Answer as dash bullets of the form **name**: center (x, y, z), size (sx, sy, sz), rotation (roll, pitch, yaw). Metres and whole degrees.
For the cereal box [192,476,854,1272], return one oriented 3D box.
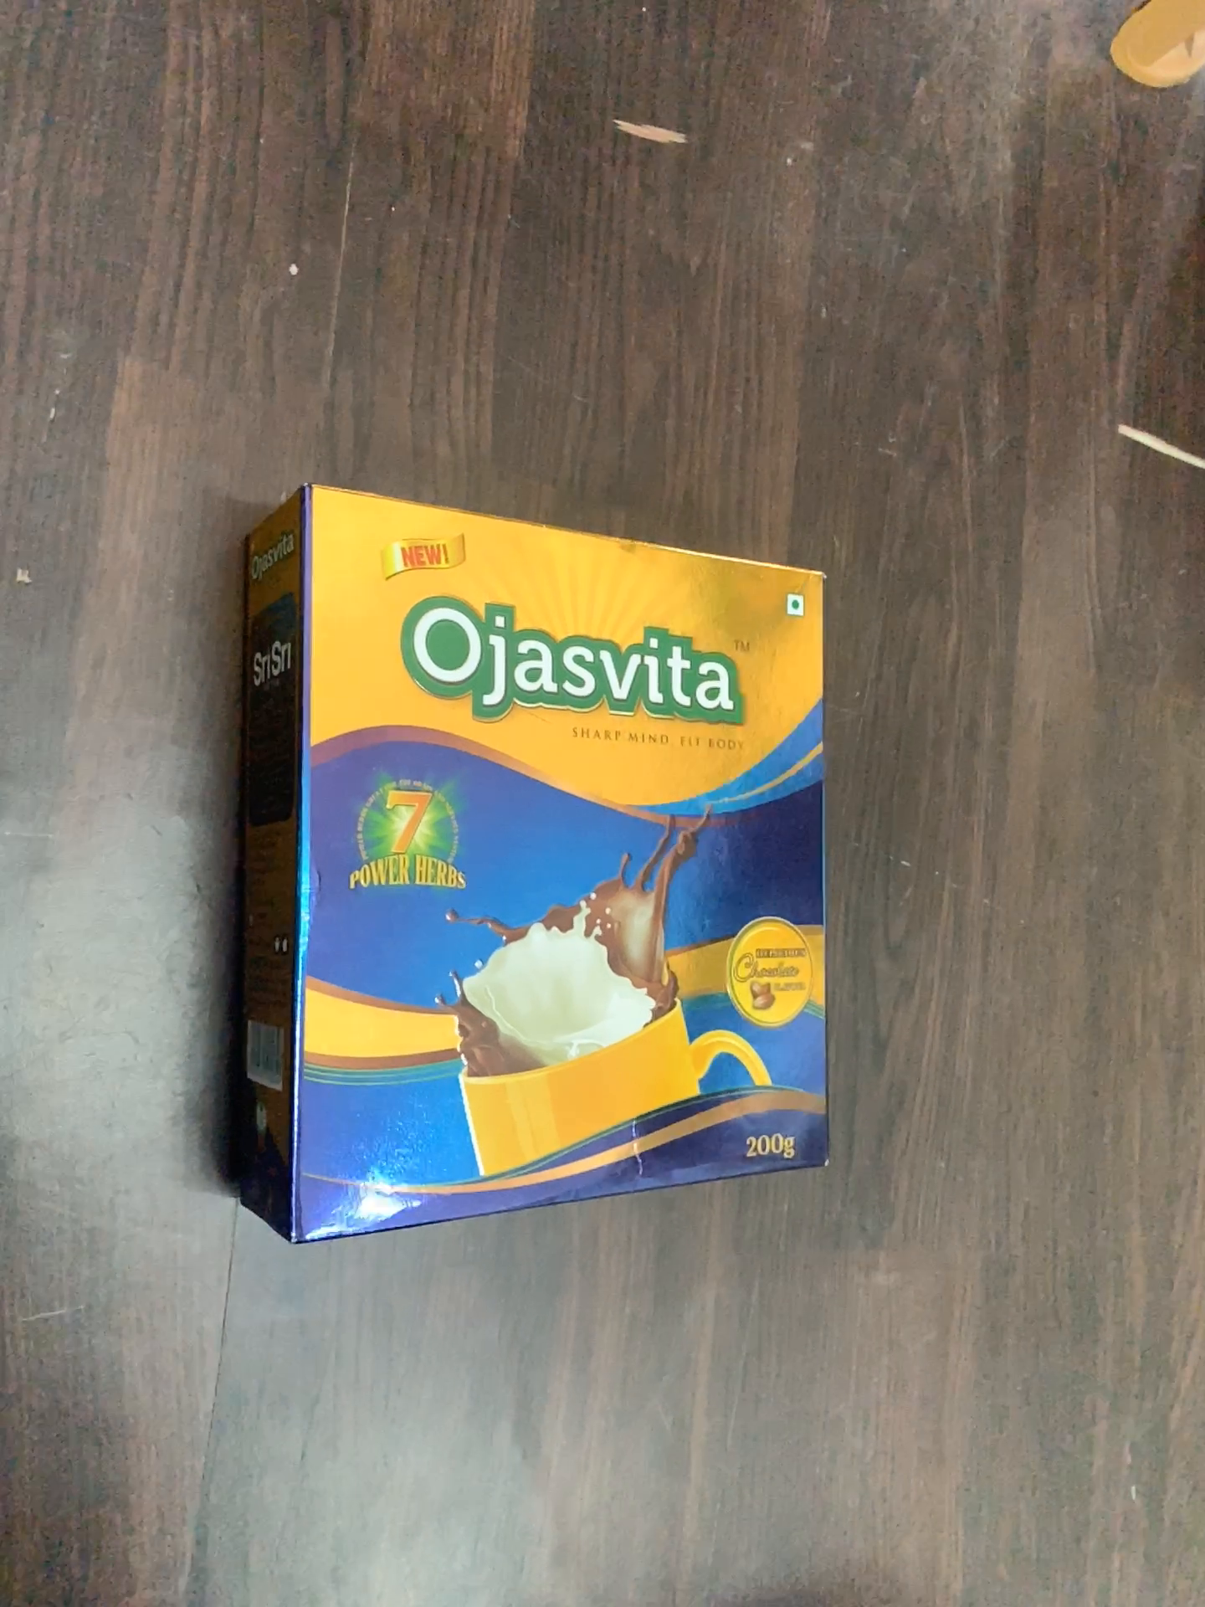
- **cereal box**: center (-0.014, 0.015, 0.291), size (0.151, 0.040, 0.150), rotation (2, 84, -32)
